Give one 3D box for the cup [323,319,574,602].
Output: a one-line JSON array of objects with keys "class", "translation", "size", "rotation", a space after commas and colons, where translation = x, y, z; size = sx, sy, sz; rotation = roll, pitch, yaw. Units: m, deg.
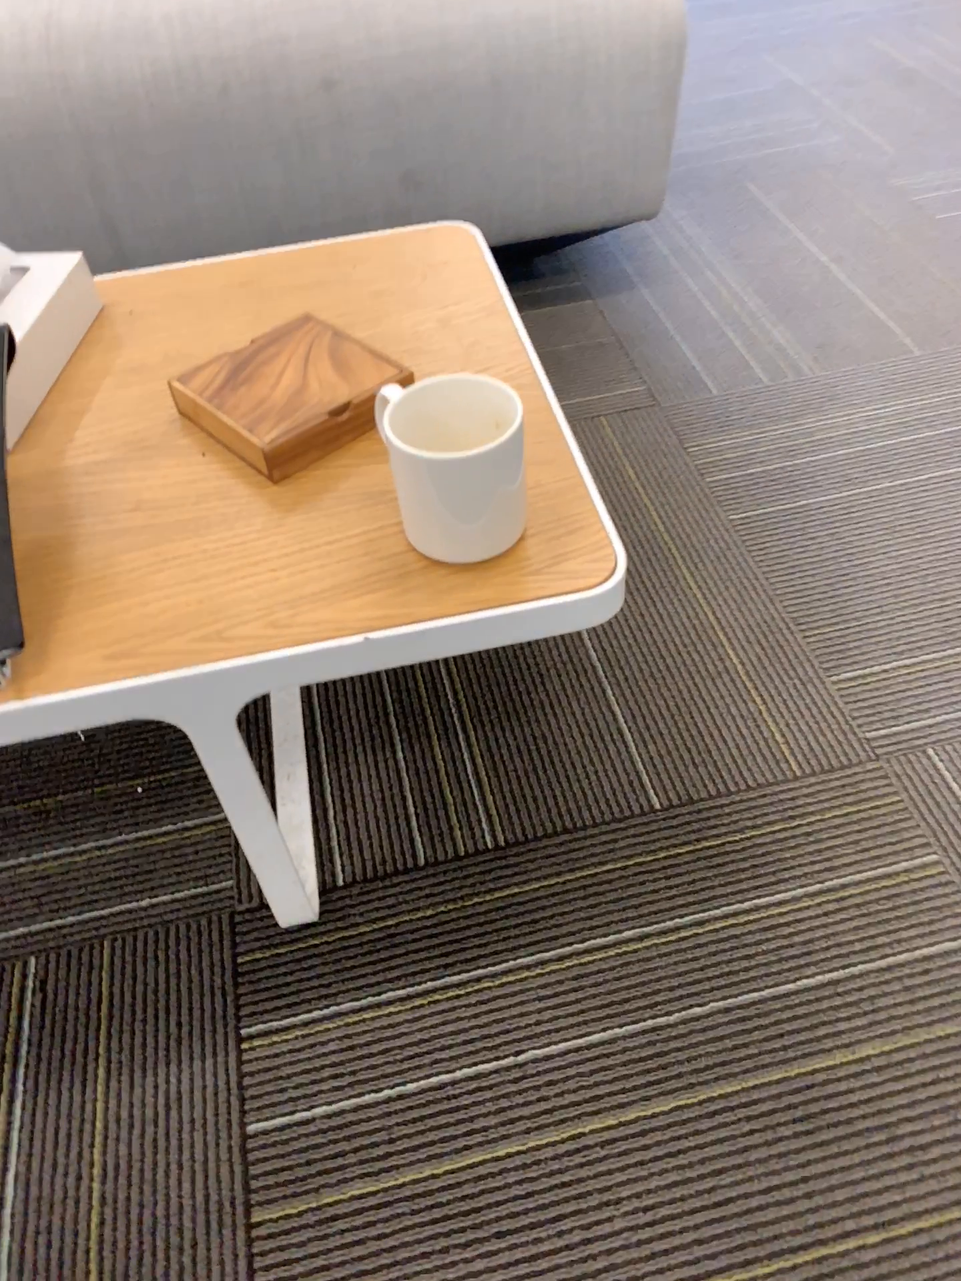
[{"class": "cup", "translation": [-0.019, -0.115, 0.606], "size": [0.090, 0.090, 0.141], "rotation": [-26, 50, -17]}]
